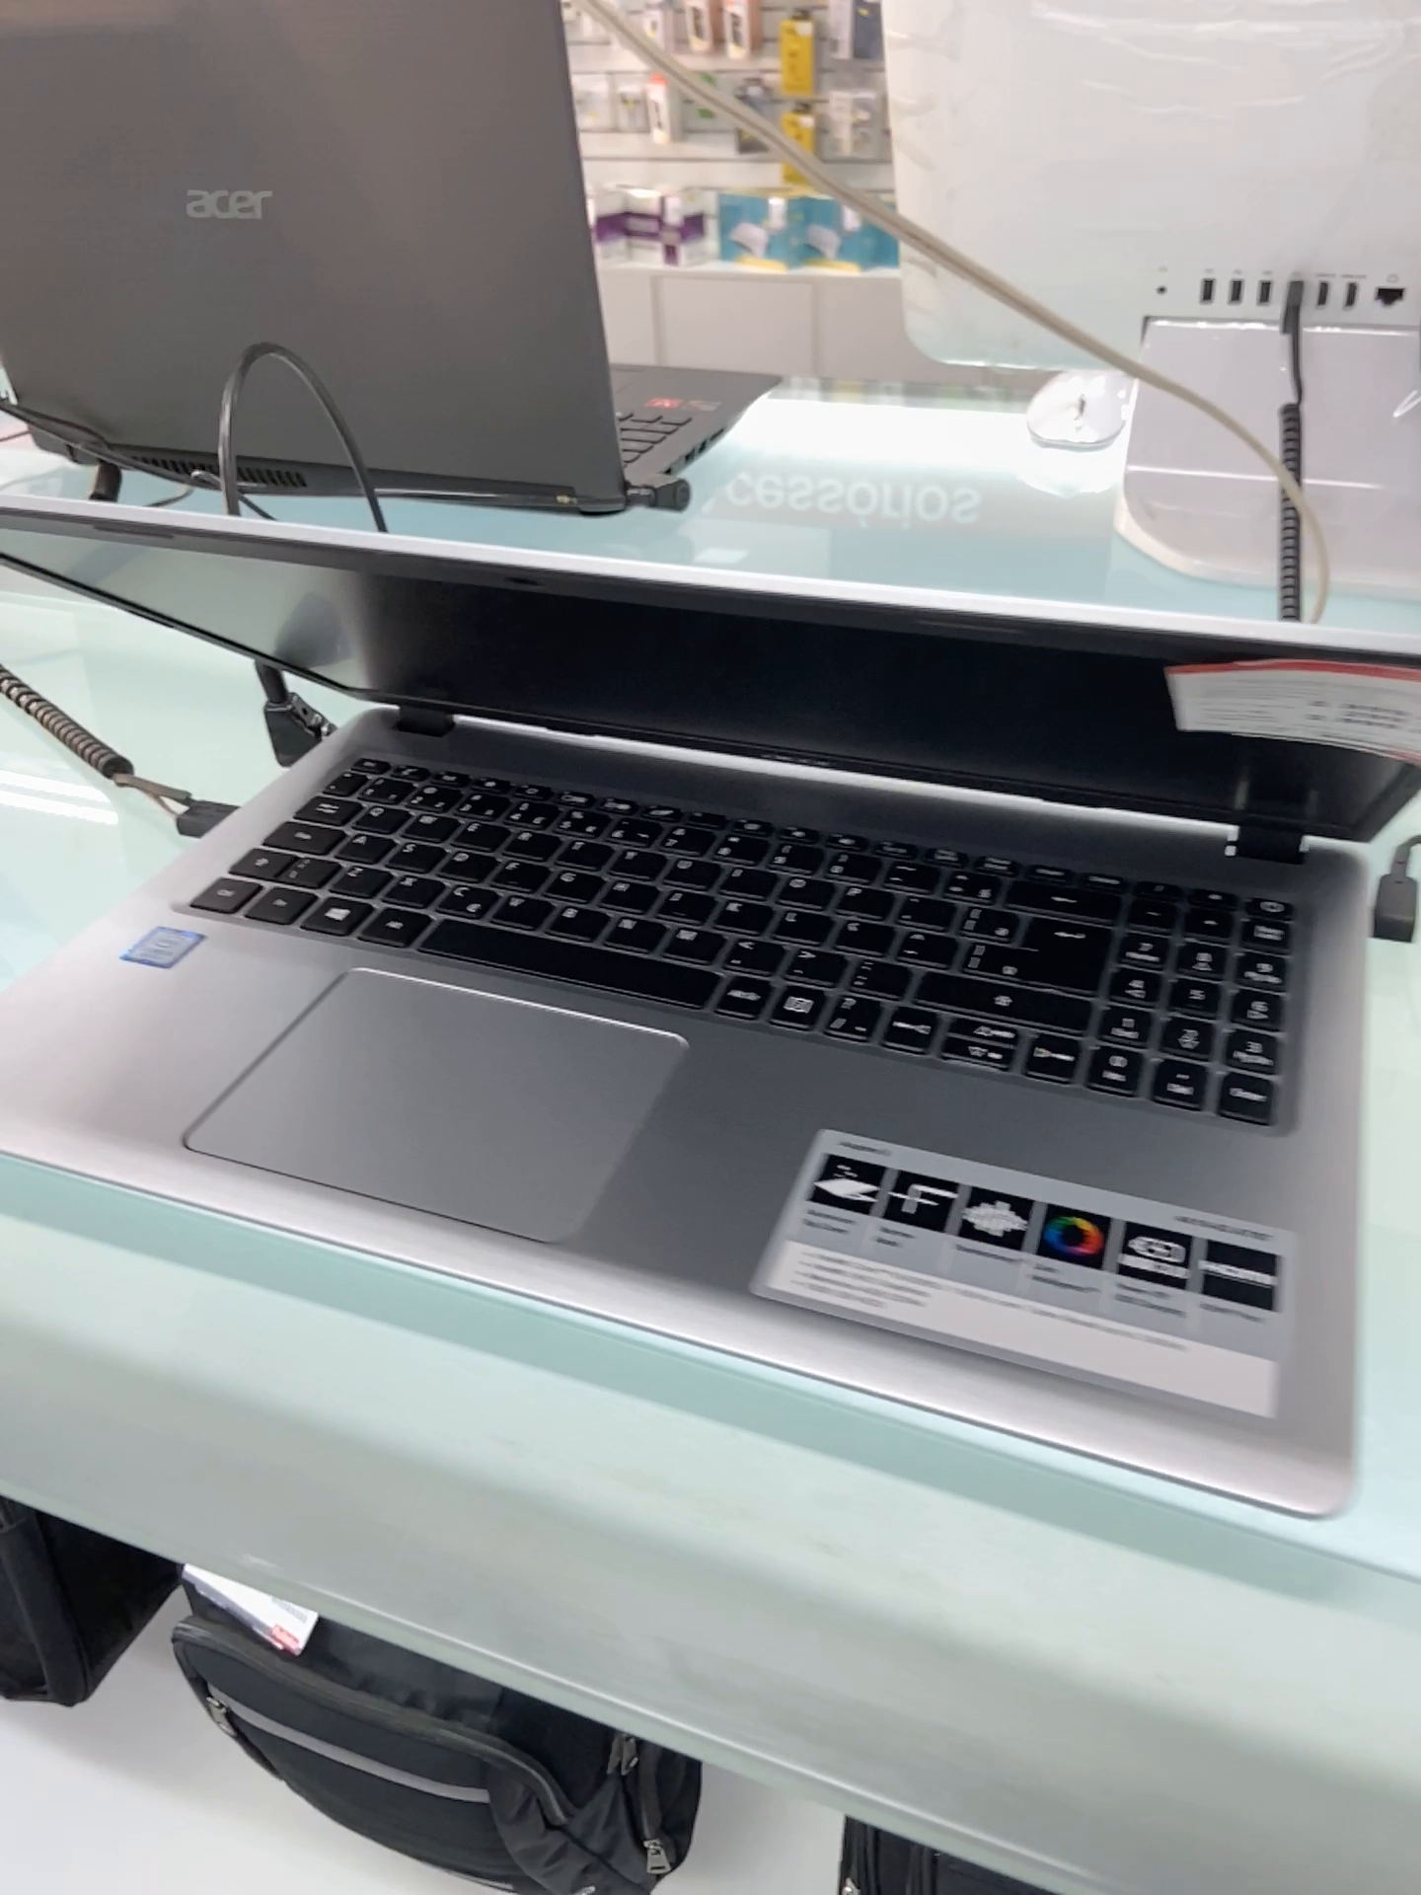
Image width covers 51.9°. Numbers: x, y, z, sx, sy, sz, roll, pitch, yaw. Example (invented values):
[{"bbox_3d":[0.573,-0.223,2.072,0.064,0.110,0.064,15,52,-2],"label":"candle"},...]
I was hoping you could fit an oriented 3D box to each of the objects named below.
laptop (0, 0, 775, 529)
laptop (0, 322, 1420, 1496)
[{"bbox_3d":[-0.185,-0.427,0.824,0.363,0.249,0.266,11,39,18],"label":"laptop"},{"bbox_3d":[-0.009,-0.052,0.371,0.360,0.138,0.237,10,37,18],"label":"laptop"}]
